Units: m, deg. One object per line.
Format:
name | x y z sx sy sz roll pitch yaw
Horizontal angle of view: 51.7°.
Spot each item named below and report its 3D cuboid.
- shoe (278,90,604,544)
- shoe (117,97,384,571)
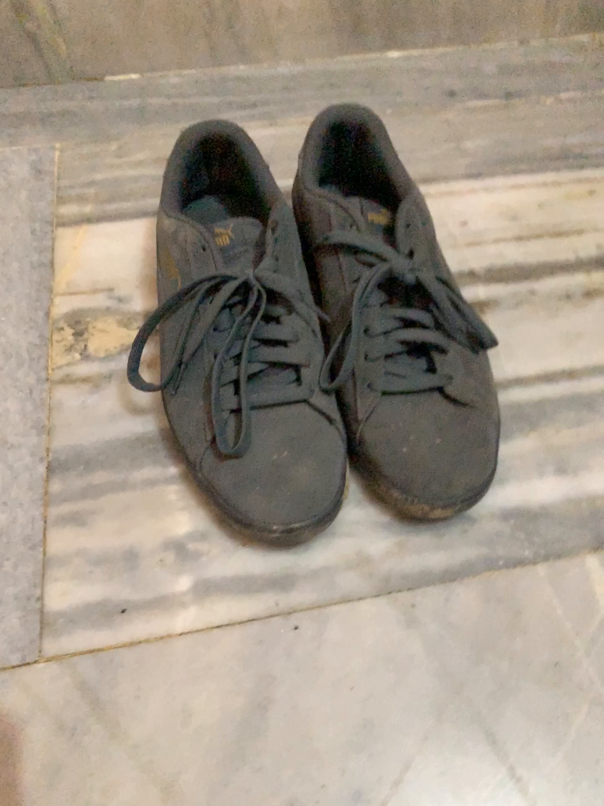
shoe | 0.064 -0.072 0.411 0.110 0.100 0.290 -9 58 -7
shoe | -0.046 -0.059 0.397 0.110 0.100 0.290 -9 58 -7
